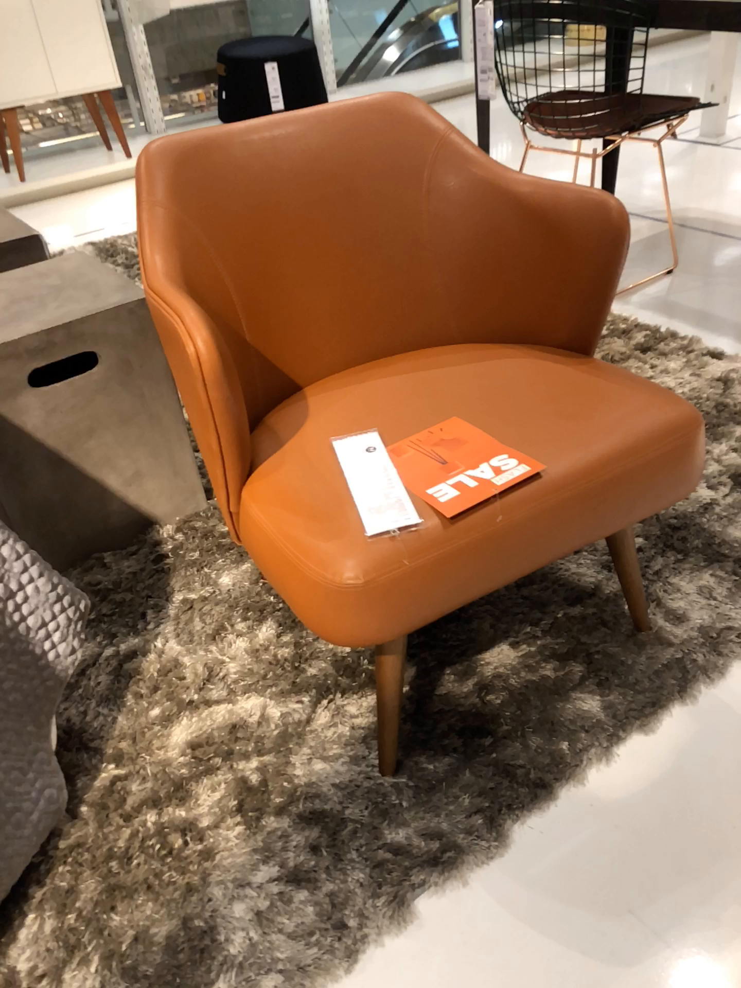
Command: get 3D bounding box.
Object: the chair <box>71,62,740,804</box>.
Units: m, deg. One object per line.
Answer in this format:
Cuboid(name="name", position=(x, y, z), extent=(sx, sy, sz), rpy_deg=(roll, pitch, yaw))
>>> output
Cuboid(name="chair", position=(0.044, -0.156, 1.166), extent=(0.591, 0.704, 0.654), rpy_deg=(-22, 37, -21))
